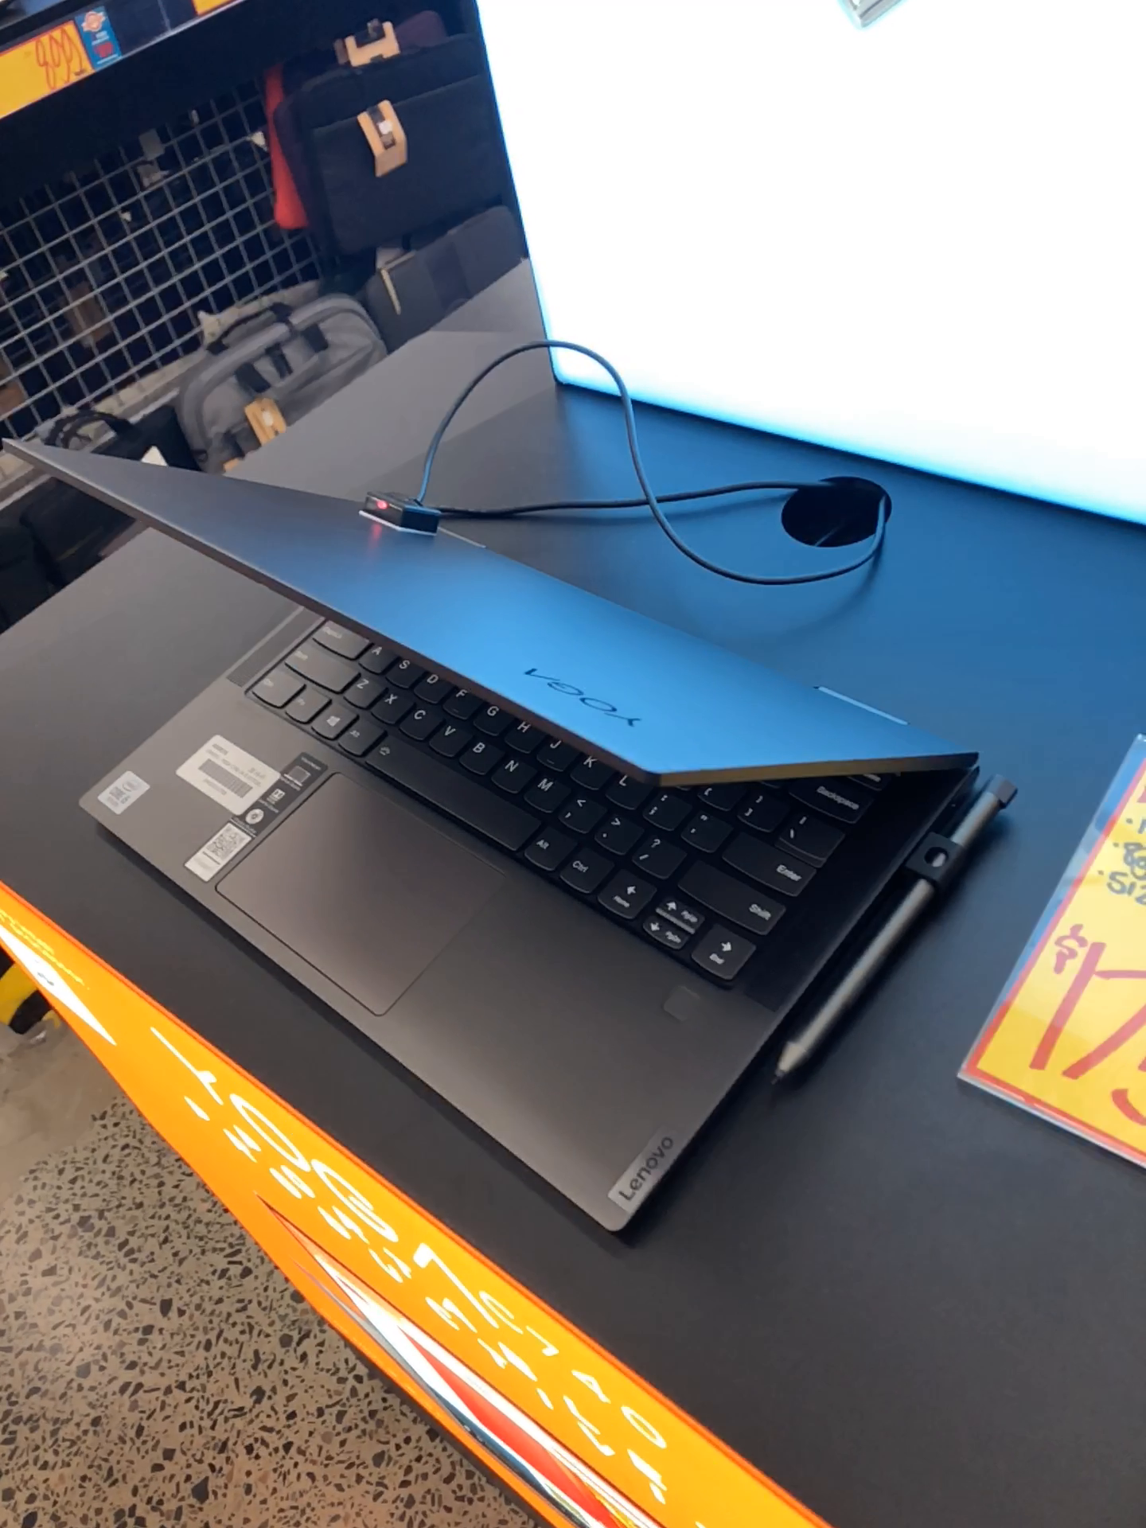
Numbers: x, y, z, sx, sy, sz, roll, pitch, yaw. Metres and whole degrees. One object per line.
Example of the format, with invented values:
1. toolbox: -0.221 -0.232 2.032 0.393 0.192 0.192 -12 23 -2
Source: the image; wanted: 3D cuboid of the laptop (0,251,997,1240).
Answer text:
1. laptop: -0.049 -0.040 0.458 0.321 0.144 0.209 28 61 35
